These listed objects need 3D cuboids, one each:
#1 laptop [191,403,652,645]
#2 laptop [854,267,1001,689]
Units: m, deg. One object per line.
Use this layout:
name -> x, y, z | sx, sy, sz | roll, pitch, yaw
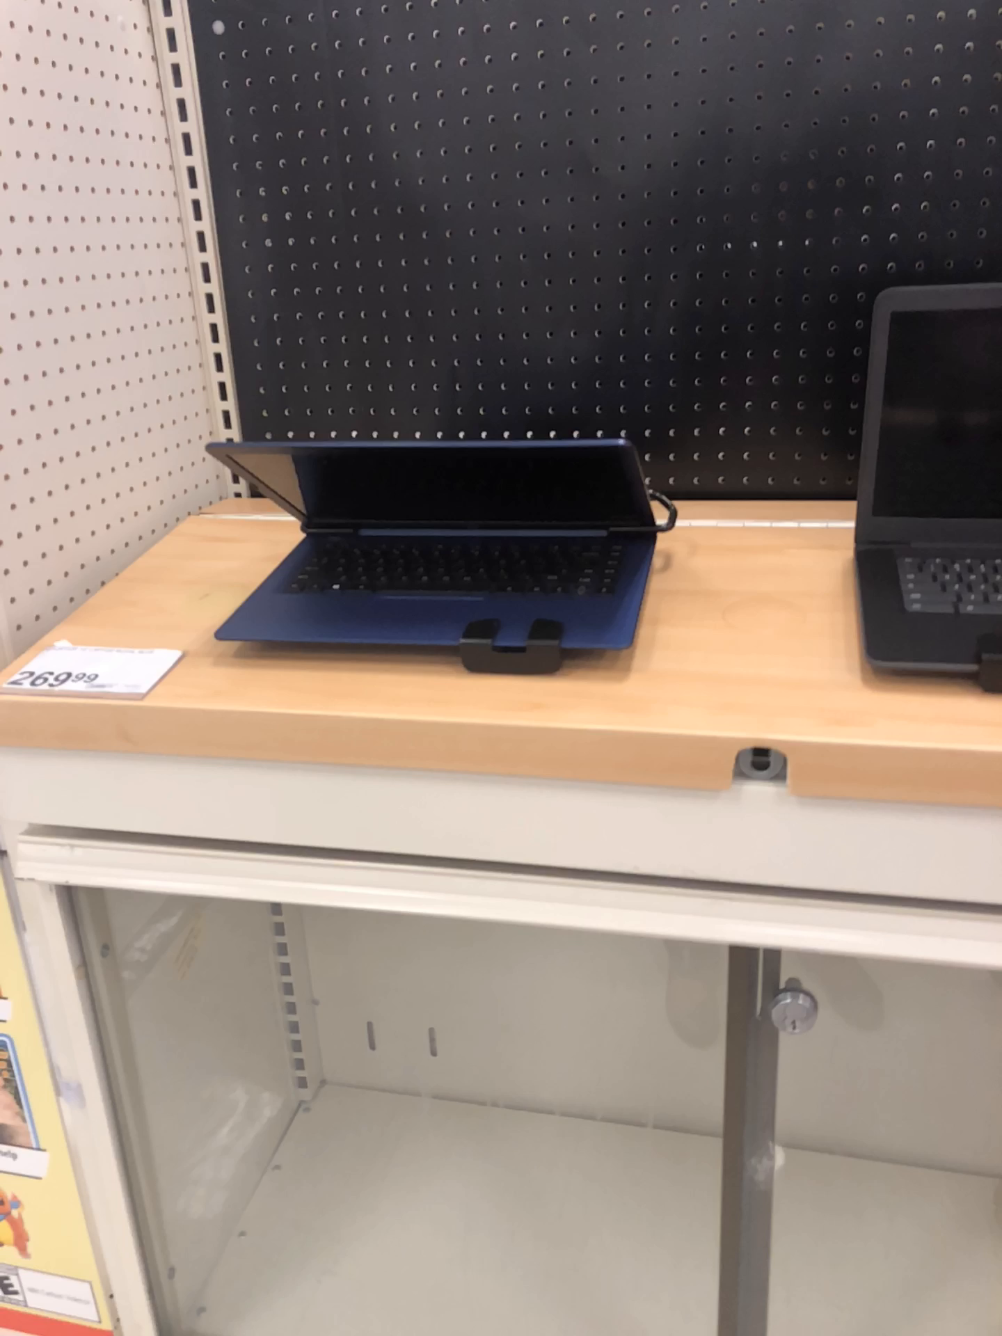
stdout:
laptop -> -0.050, -0.122, 0.874 | 0.320, 0.111, 0.202 | 2, 28, 14
laptop -> 0.429, -0.140, 0.747 | 0.330, 0.206, 0.224 | 3, 25, 16
